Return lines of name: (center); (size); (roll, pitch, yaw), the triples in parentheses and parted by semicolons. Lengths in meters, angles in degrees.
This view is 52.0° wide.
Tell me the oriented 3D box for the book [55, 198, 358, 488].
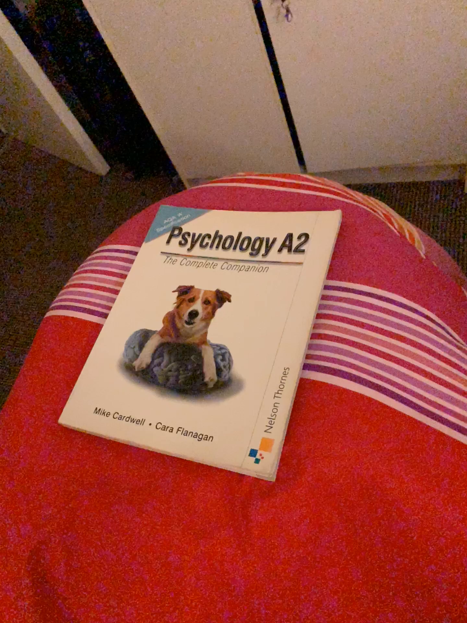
book: (-0.018, 0.004, 0.502); (0.241, 0.040, 0.292); (5, 59, 25)
